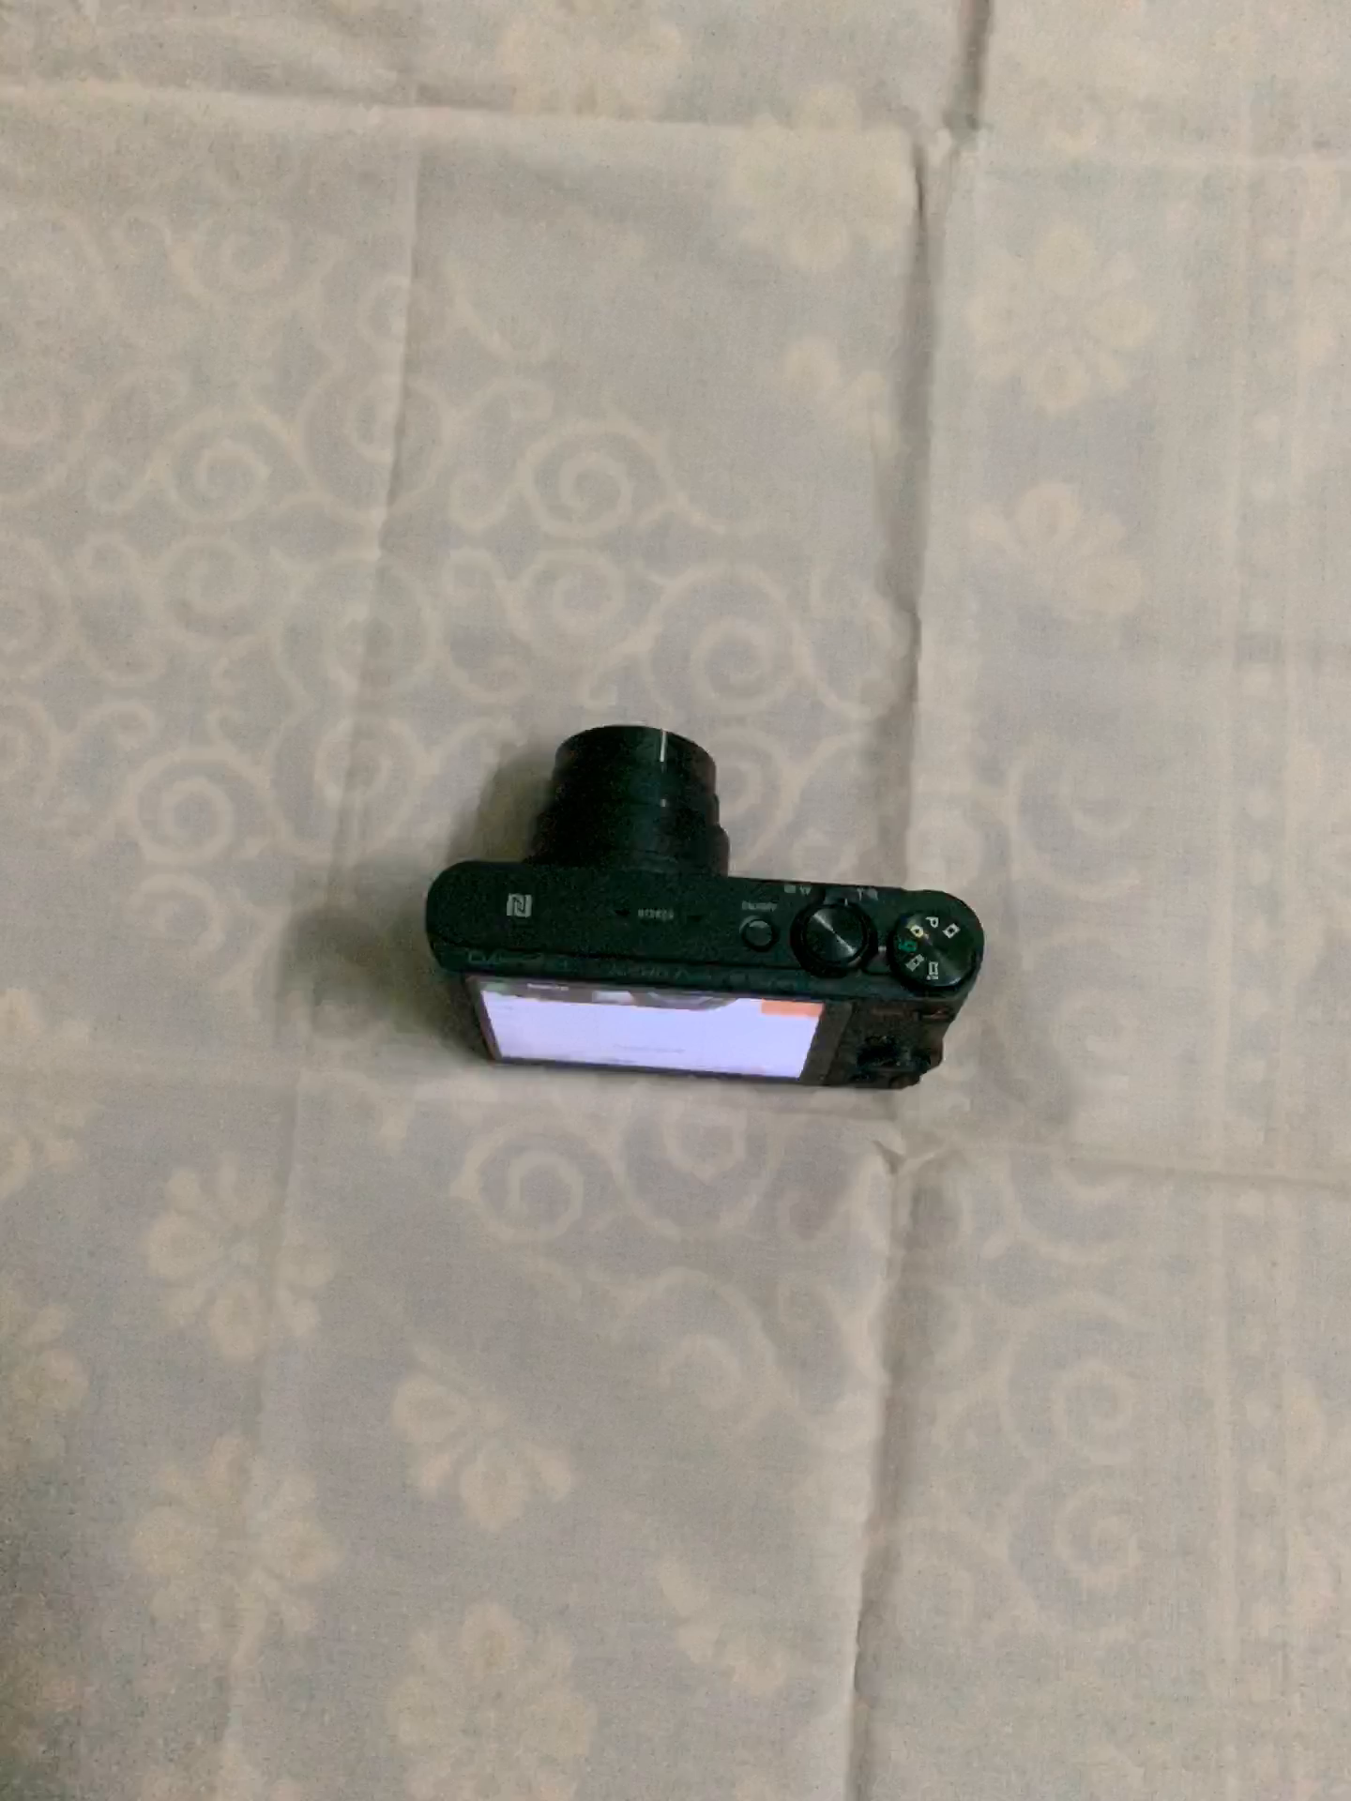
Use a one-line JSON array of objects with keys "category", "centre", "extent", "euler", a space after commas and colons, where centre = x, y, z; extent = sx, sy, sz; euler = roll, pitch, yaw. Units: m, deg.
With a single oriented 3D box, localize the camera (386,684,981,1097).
[{"category": "camera", "centre": [0.003, 0.001, 0.272], "extent": [0.100, 0.060, 0.058], "euler": [4, 72, 1]}]
